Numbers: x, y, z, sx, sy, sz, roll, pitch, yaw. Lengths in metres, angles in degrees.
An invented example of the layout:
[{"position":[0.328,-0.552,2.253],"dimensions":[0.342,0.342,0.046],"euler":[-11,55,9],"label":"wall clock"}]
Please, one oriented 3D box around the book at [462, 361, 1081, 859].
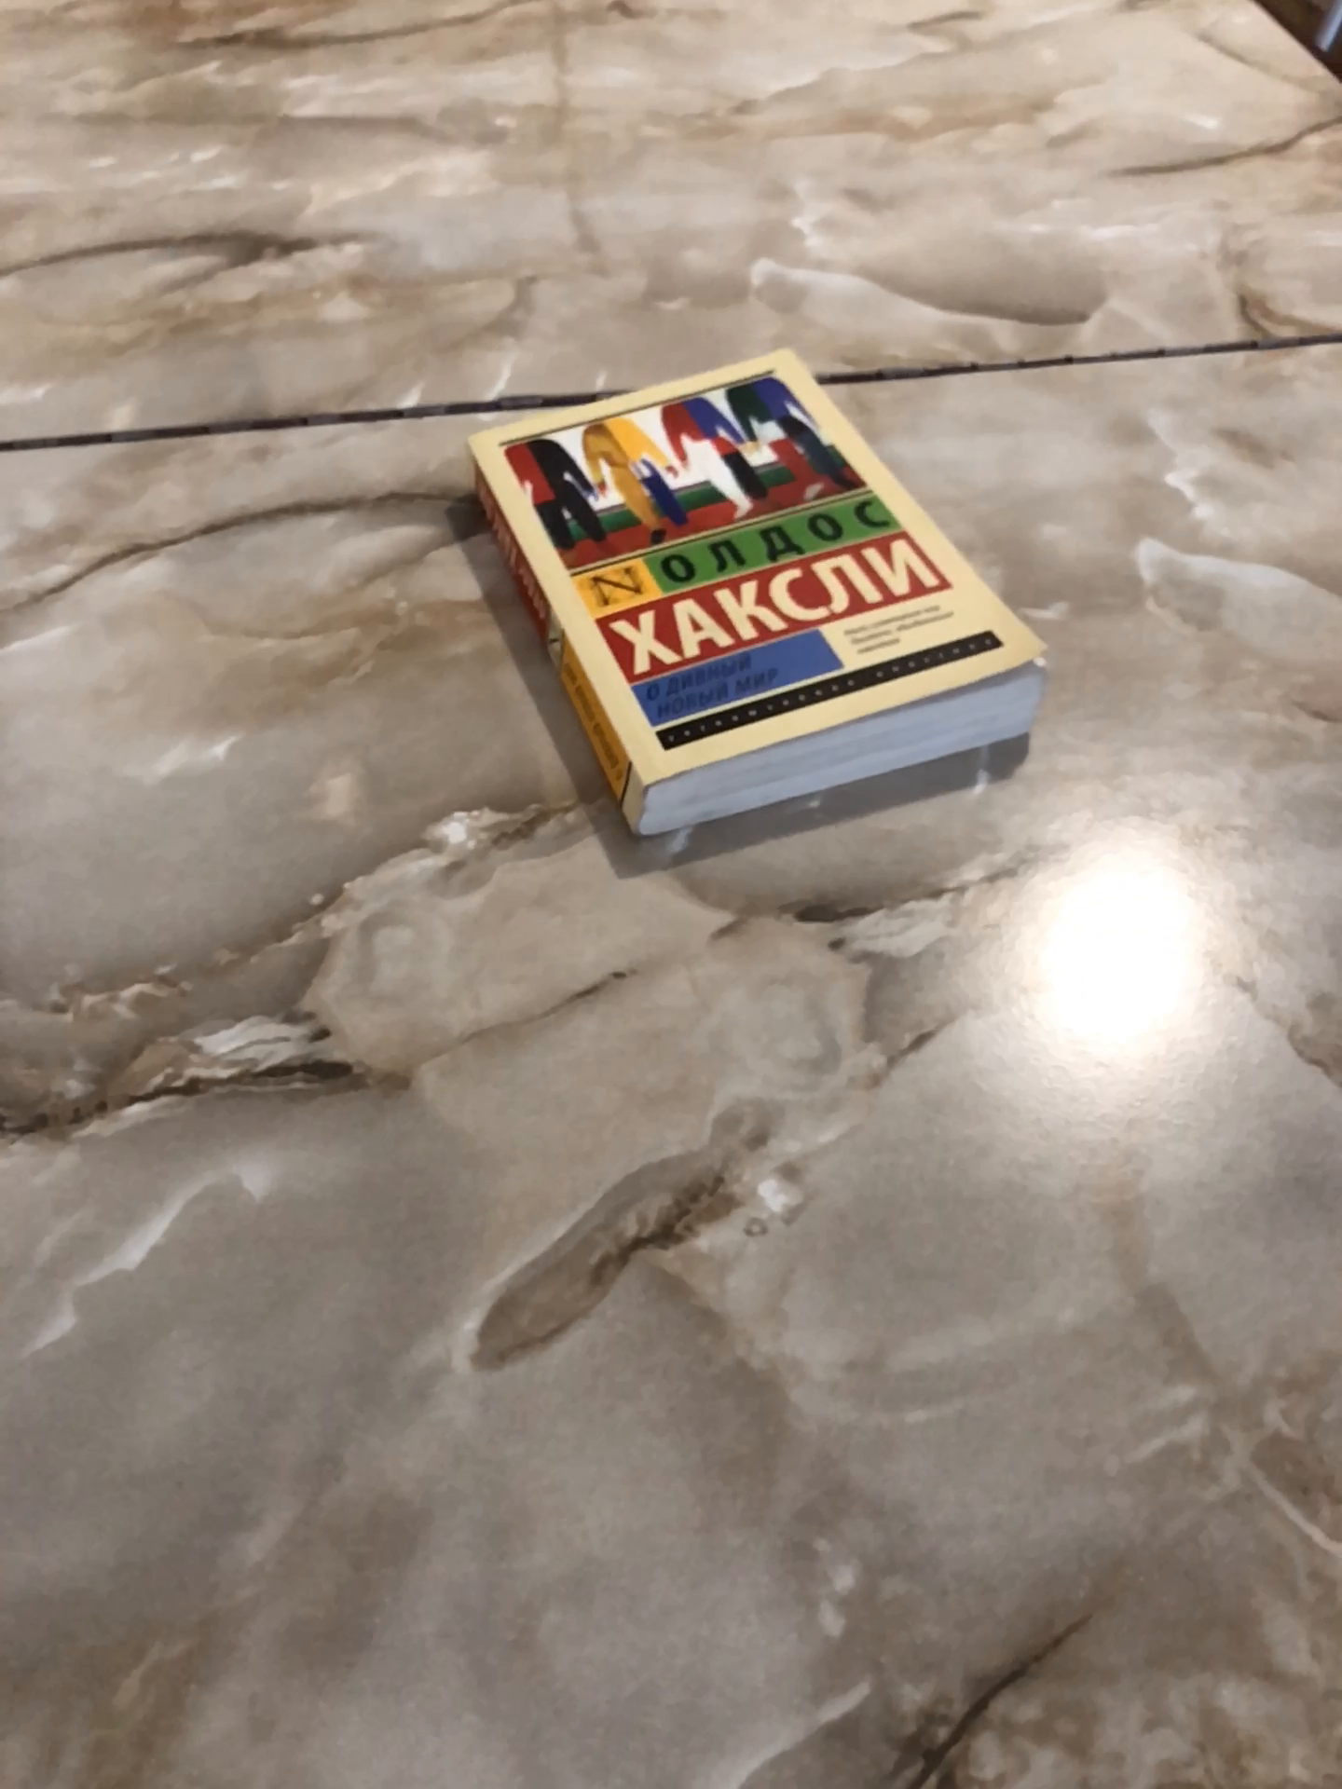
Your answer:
[{"position":[0.020,-0.096,0.446],"dimensions":[0.120,0.020,0.185],"euler":[-17,49,-12],"label":"book"}]
